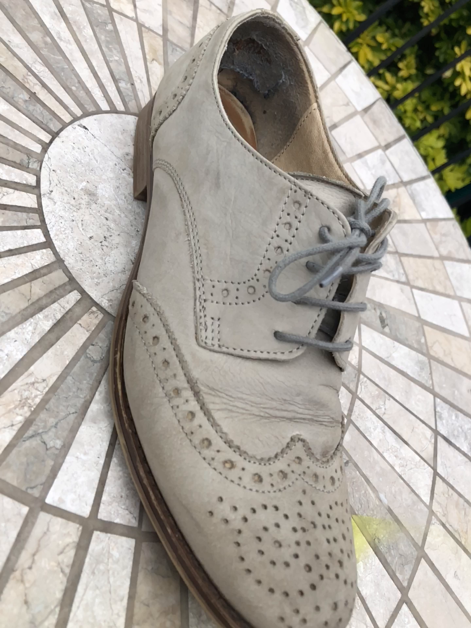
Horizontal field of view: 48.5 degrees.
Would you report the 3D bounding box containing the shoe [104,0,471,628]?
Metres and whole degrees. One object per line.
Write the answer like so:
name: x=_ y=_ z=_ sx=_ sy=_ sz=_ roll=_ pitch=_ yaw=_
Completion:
shoe: x=0.009 y=-0.010 z=0.212 sx=0.090 sy=0.078 sz=0.257 roll=12 pitch=60 yaw=-38
